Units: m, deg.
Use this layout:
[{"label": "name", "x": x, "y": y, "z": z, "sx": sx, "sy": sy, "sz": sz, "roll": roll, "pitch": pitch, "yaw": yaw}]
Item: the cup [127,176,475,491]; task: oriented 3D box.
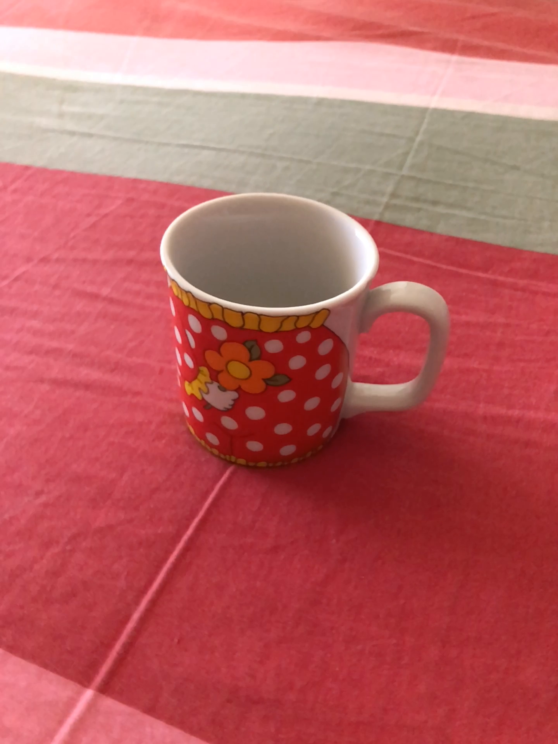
[{"label": "cup", "x": 0.009, "y": -0.018, "z": 0.269, "sx": 0.116, "sy": 0.086, "sz": 0.089, "roll": 6, "pitch": 45, "yaw": 2}]
